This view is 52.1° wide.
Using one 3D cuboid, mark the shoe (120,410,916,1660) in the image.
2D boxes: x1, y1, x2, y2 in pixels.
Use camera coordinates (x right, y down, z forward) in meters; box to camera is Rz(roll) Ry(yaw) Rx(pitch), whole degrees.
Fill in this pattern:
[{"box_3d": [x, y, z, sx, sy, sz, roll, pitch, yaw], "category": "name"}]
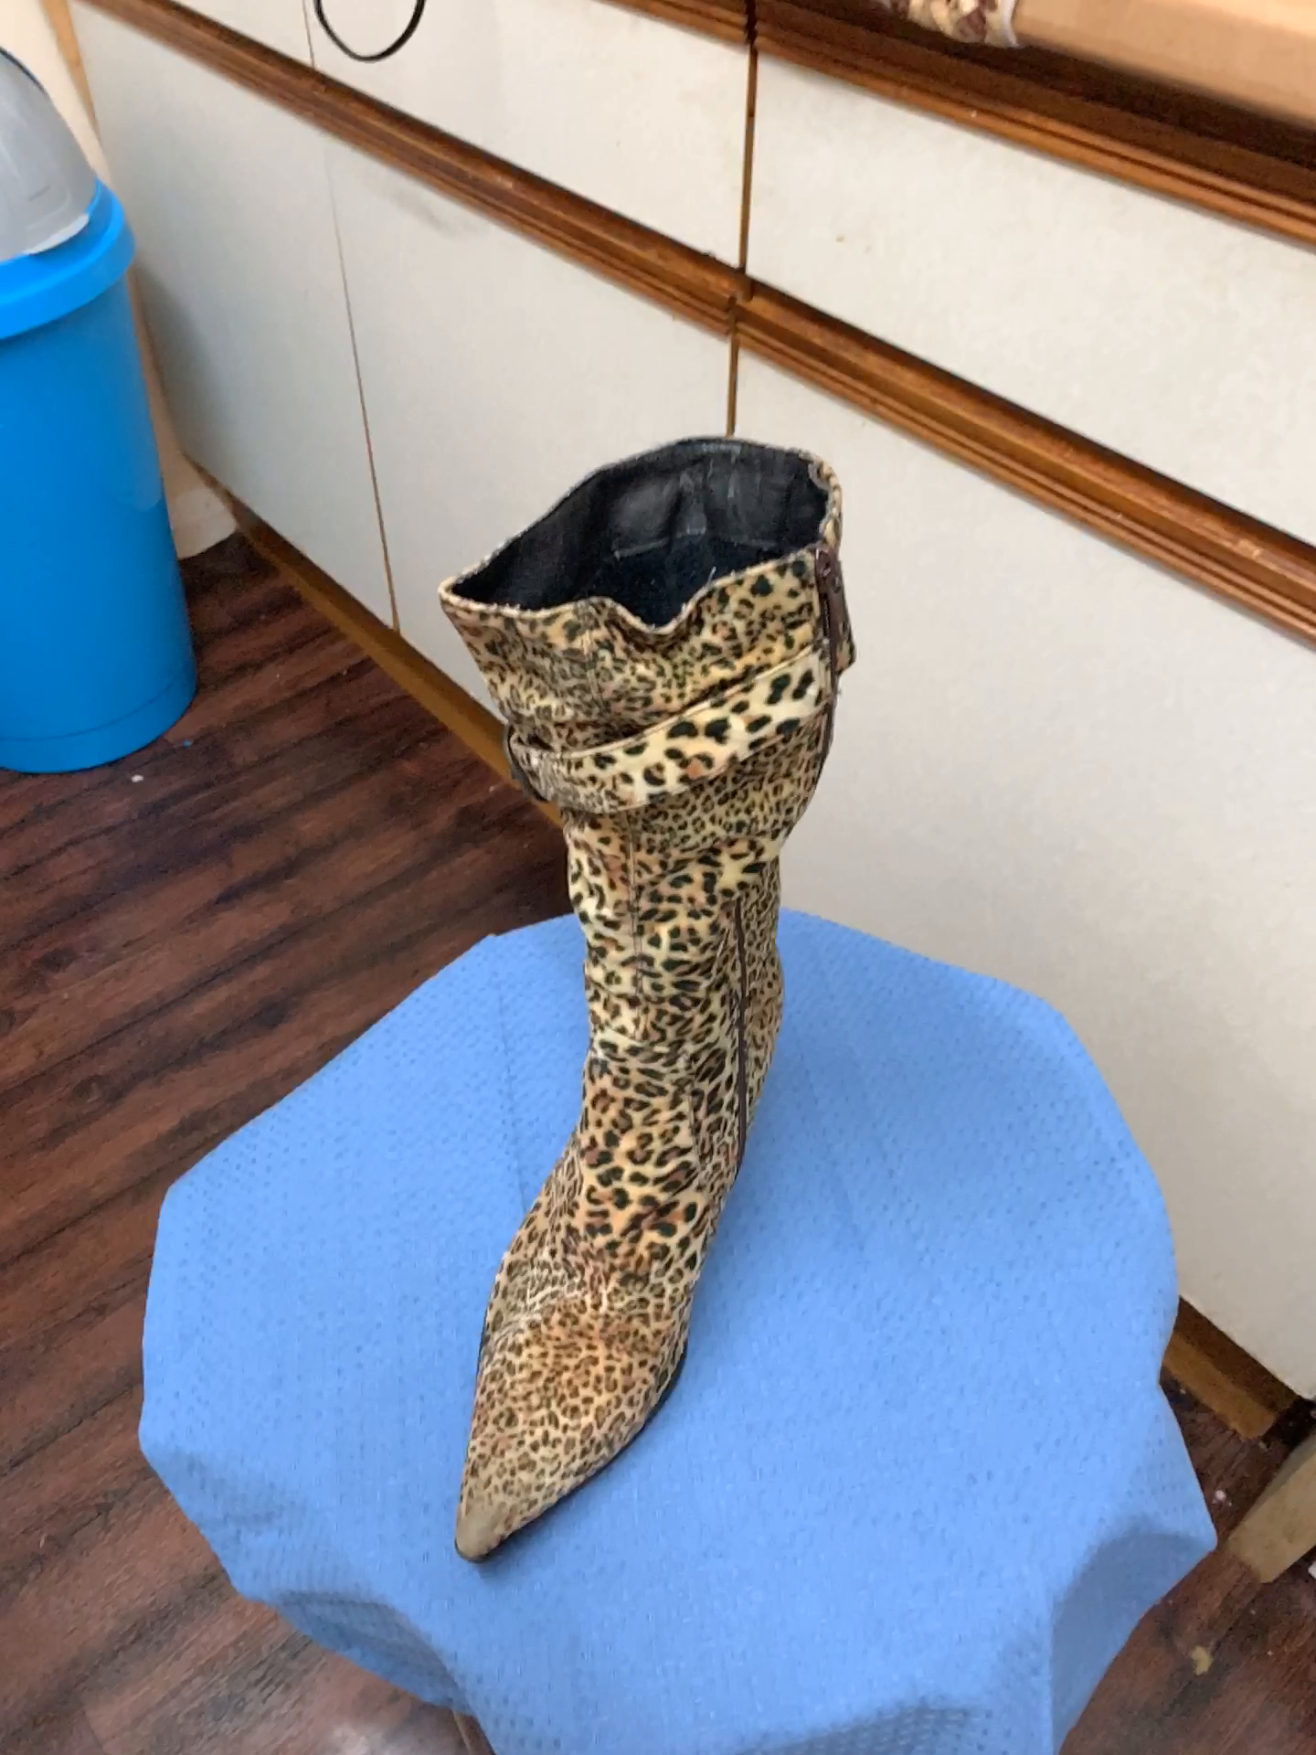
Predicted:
[{"box_3d": [-0.017, 0.068, 0.470, 0.100, 0.347, 0.262, 16, 48, 14], "category": "shoe"}]
